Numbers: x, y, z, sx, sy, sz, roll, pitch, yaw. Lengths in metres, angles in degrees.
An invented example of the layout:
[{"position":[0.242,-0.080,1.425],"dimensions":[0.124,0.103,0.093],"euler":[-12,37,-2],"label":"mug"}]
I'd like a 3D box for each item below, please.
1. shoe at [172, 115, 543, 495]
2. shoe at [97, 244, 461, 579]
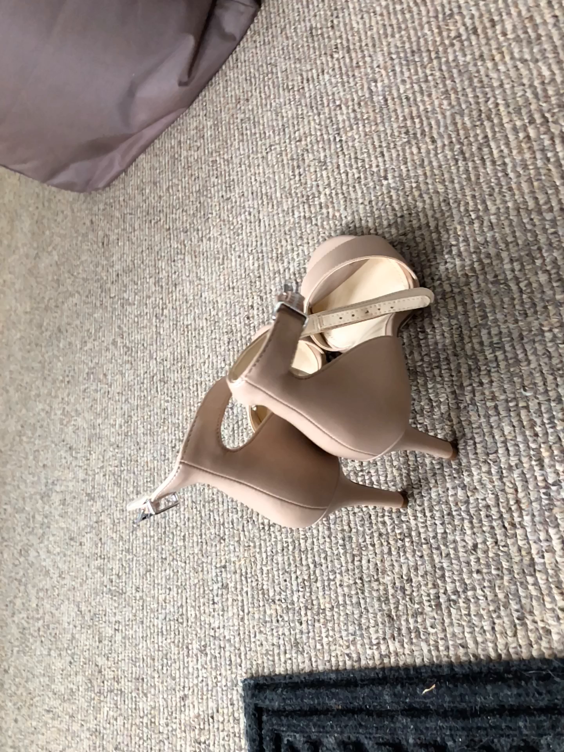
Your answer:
[{"position":[0.042,-0.044,0.417],"dimensions":[0.099,0.154,0.207],"euler":[-45,49,25],"label":"shoe"},{"position":[-0.012,0.023,0.438],"dimensions":[0.105,0.144,0.207],"euler":[-55,45,16],"label":"shoe"}]
